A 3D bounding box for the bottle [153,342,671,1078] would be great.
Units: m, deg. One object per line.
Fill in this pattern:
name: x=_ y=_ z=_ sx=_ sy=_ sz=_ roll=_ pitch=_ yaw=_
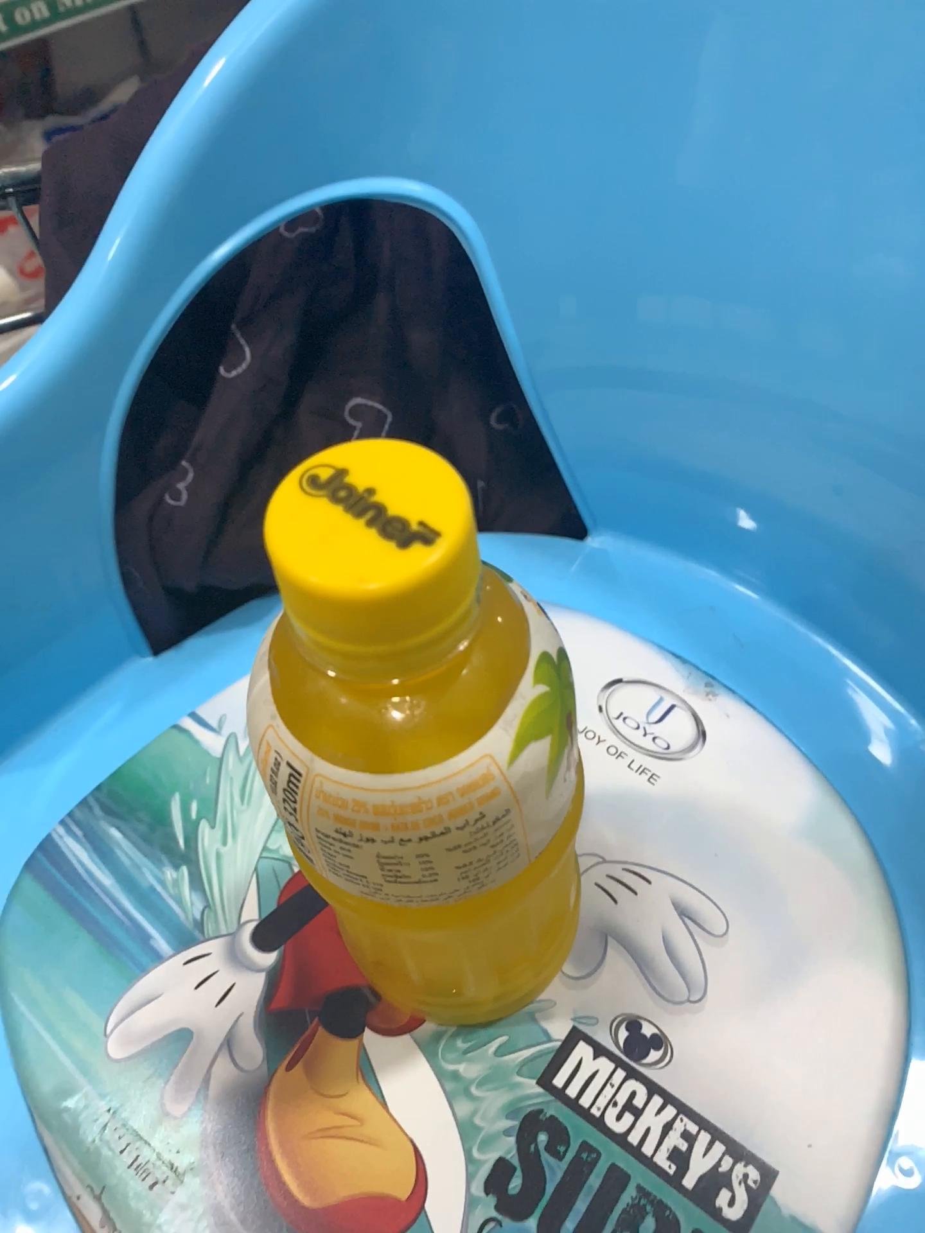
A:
bottle: x=-0.008 y=0.029 z=0.184 sx=0.060 sy=0.140 sz=0.060 roll=-2 pitch=50 yaw=2
